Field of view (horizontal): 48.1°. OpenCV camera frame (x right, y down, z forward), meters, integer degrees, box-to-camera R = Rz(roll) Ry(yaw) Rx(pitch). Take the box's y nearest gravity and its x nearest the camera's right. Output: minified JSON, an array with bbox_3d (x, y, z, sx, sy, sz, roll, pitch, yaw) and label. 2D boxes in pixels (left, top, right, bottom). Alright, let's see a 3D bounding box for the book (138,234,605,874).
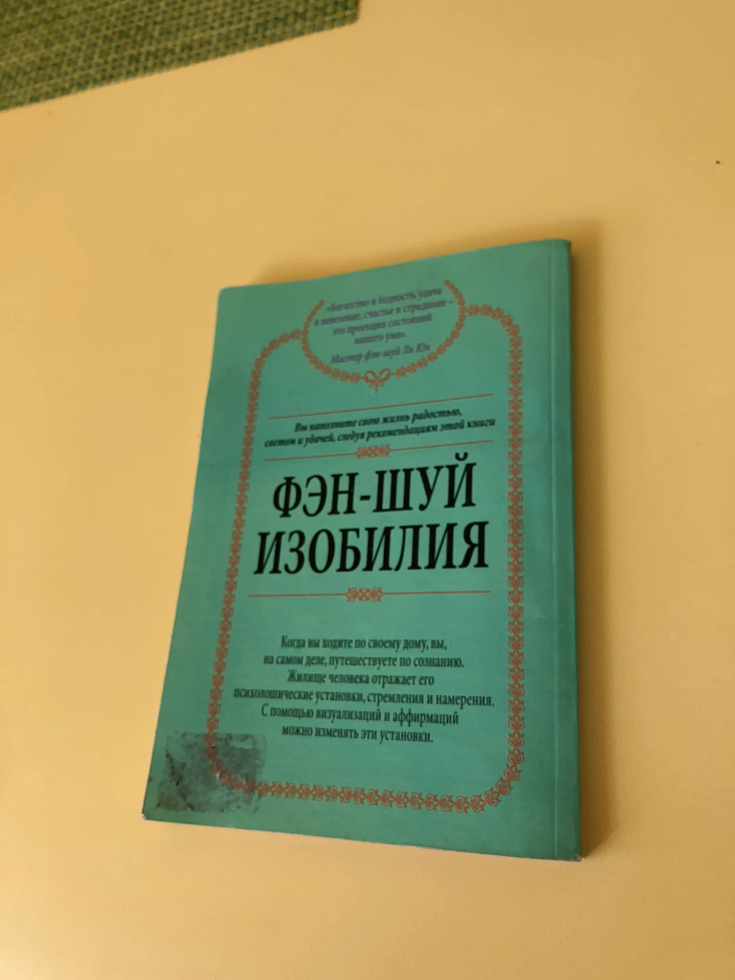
[{"bbox_3d":[0.003,0.012,0.235,0.118,0.020,0.166,-4,69,20],"label":"book"}]
